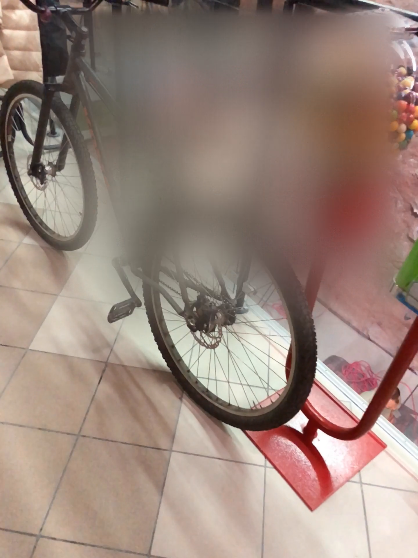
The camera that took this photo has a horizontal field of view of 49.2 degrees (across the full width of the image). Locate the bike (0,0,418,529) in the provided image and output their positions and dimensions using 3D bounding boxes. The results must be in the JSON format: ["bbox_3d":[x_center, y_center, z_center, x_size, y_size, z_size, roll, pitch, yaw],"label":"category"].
[{"bbox_3d":[-0.271,-0.382,1.597,0.751,1.098,1.826,-26,52,-34],"label":"bike"}]
